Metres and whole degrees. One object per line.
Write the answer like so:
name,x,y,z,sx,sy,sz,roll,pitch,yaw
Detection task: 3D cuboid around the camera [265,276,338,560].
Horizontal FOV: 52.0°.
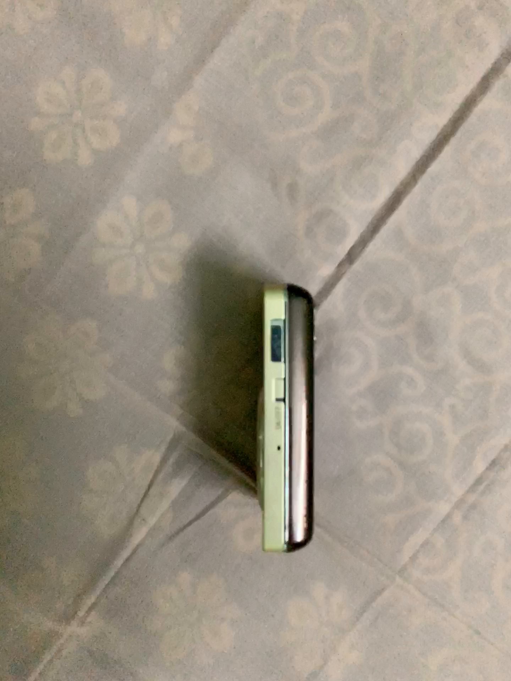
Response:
camera,0.015,0.024,0.193,0.021,0.060,0.088,1,92,1
